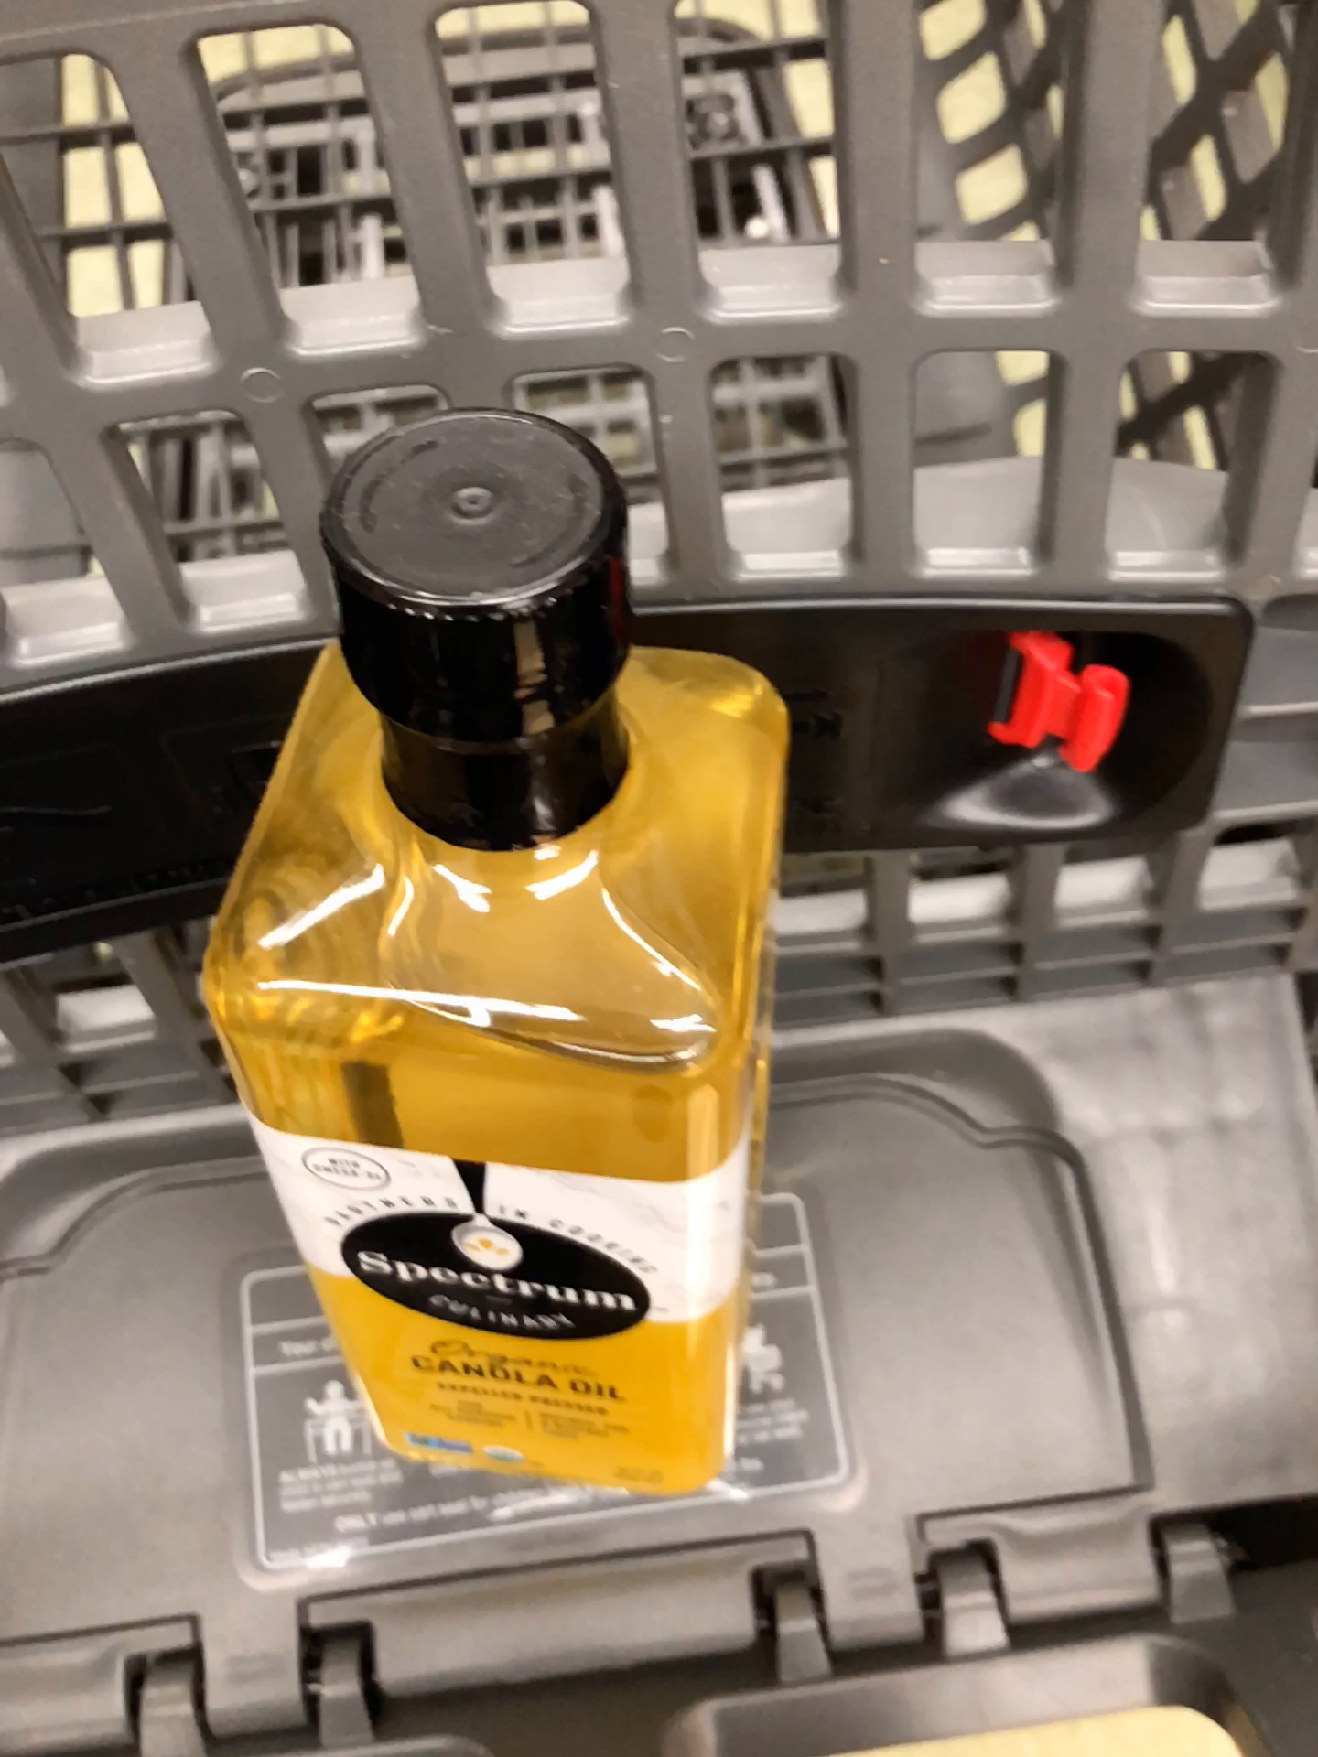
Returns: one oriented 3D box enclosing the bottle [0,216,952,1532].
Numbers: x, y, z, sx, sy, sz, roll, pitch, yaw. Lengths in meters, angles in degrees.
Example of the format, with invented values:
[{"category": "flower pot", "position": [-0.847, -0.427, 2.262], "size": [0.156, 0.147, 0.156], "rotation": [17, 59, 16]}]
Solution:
[{"category": "bottle", "position": [-0.016, 0.030, 0.265], "size": [0.090, 0.251, 0.090], "rotation": [0, 53, 0]}]
